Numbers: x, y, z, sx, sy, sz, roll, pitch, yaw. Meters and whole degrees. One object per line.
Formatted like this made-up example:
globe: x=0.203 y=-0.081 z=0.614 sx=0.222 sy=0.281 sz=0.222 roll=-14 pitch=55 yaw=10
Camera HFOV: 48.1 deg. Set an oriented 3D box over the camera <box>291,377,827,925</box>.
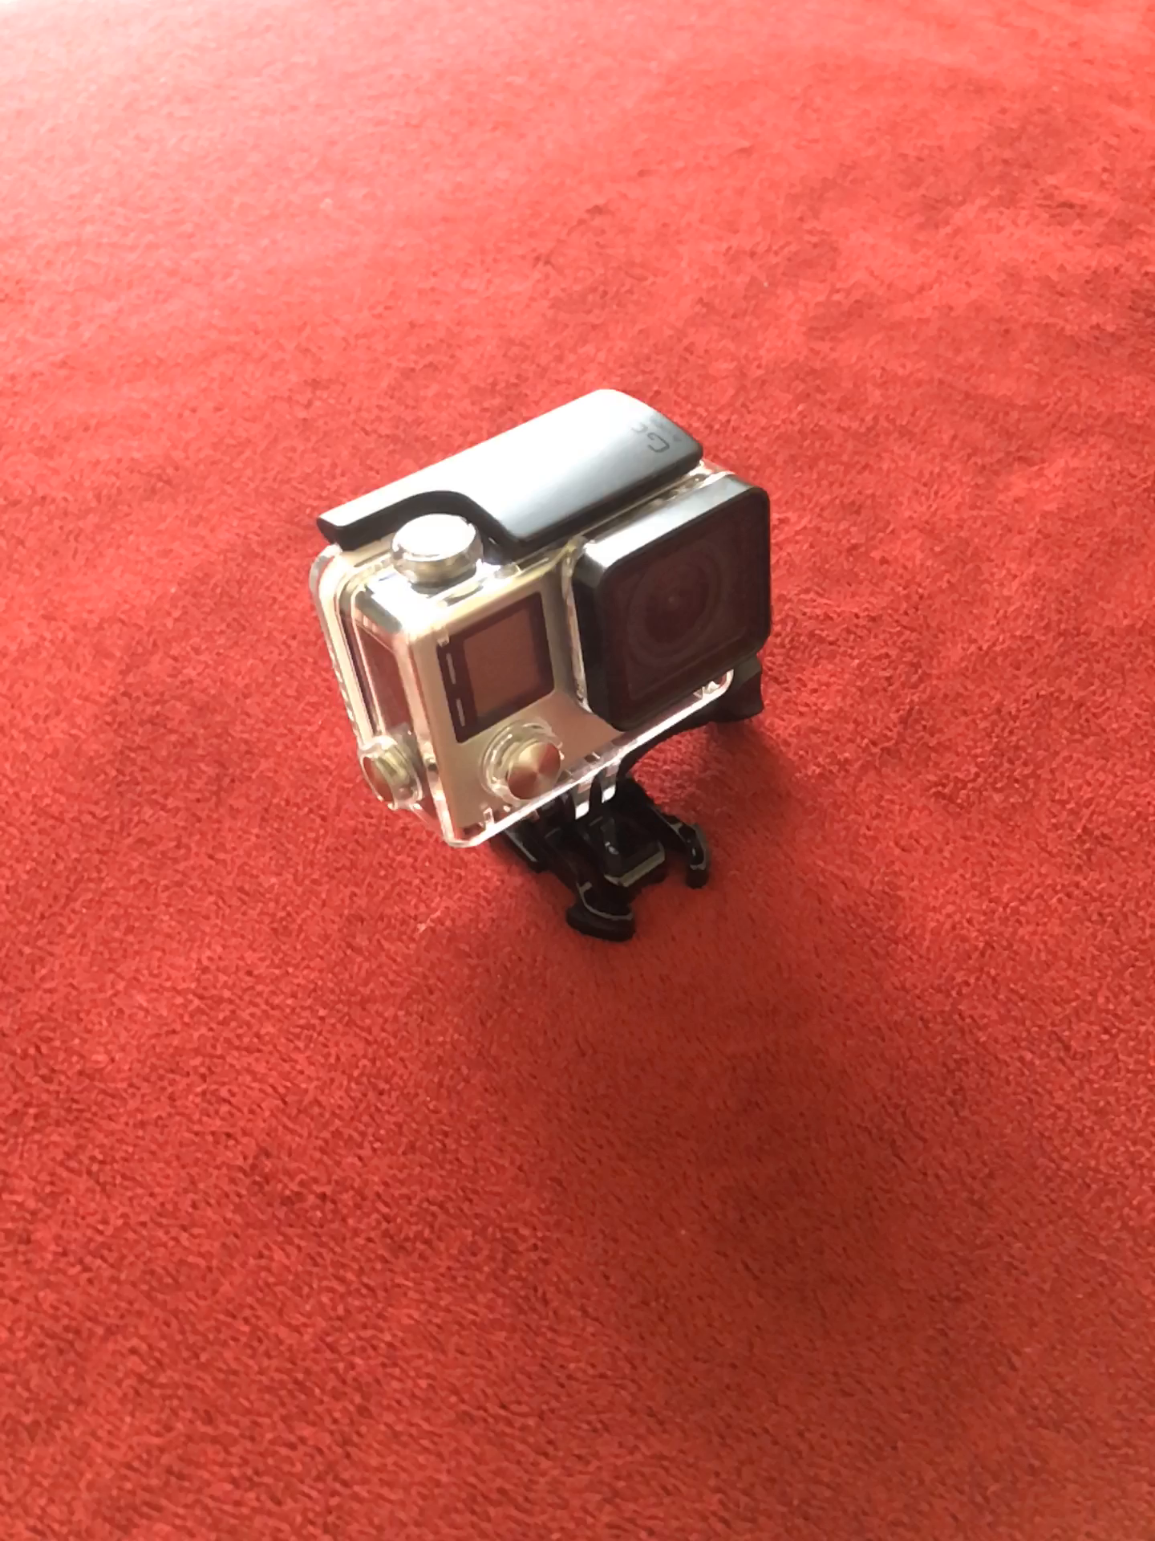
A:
camera: x=0.001 y=-0.021 z=0.214 sx=0.072 sy=0.050 sz=0.040 roll=-33 pitch=48 yaw=-20
